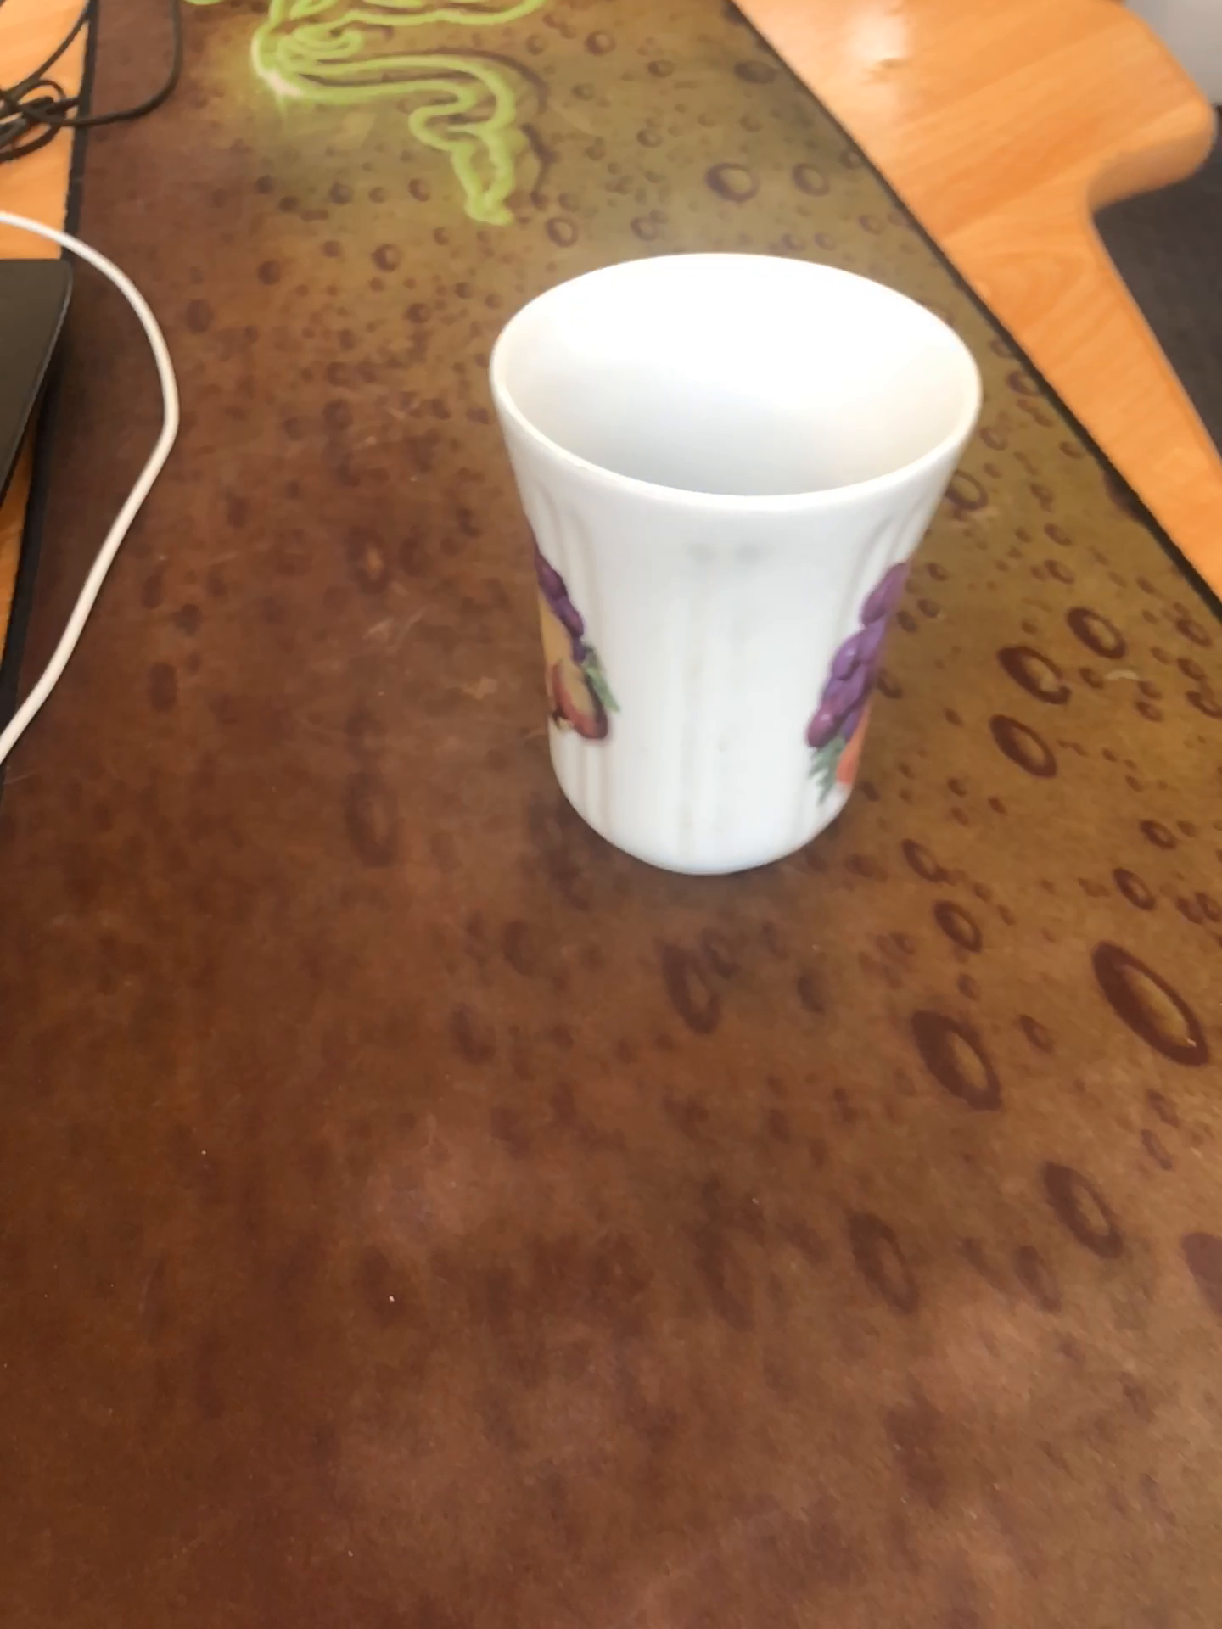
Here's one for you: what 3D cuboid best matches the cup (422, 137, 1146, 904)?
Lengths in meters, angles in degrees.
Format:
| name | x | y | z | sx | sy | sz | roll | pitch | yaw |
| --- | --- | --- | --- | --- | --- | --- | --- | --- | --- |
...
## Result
| name | x | y | z | sx | sy | sz | roll | pitch | yaw |
| --- | --- | --- | --- | --- | --- | --- | --- | --- | --- |
| cup | 0.021 | -0.056 | 0.244 | 0.080 | 0.080 | 0.100 | -14 | 49 | -13 |
